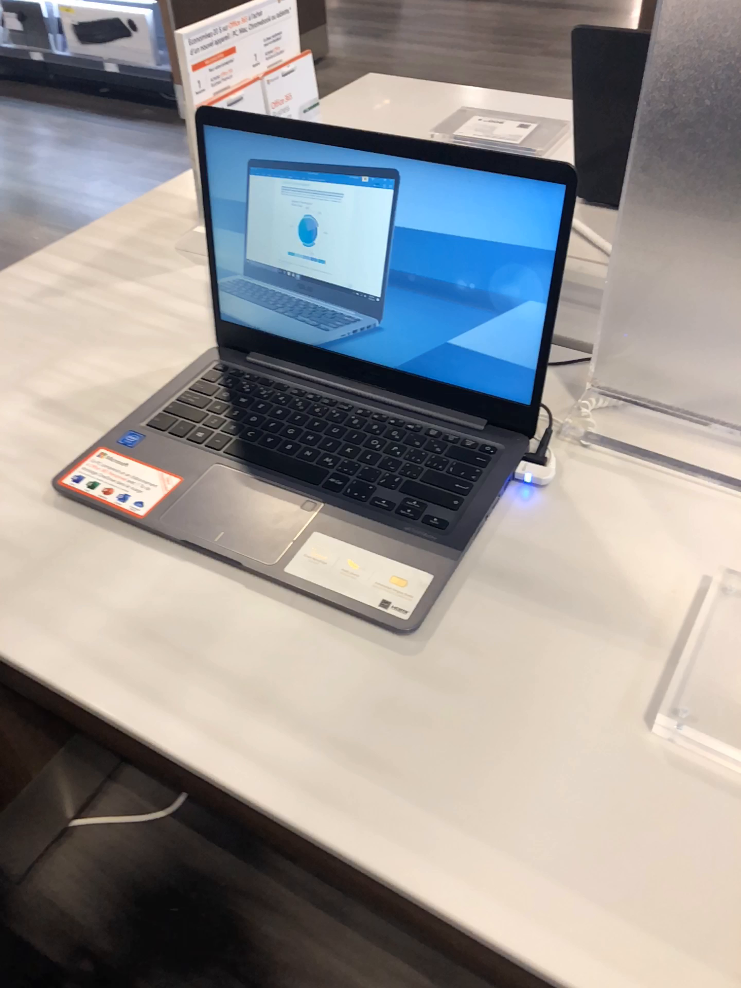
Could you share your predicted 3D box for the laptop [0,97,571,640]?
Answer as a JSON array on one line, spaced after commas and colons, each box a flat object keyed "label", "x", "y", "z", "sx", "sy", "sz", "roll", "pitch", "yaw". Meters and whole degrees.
[{"label": "laptop", "x": -0.058, "y": -0.126, "z": 0.633, "sx": 0.333, "sy": 0.180, "sz": 0.301, "roll": 18, "pitch": 51, "yaw": 20}]
